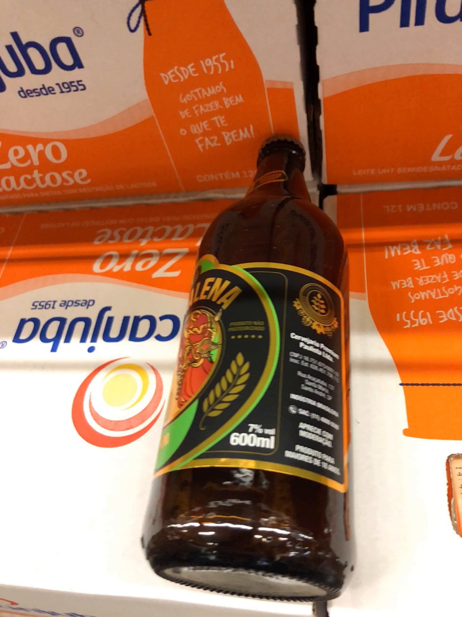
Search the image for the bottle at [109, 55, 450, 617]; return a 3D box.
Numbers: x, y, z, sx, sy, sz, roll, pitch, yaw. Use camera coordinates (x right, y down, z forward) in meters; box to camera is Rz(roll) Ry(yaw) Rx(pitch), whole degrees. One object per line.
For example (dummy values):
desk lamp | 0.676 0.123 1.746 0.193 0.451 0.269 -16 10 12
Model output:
bottle | 0.030 -0.014 0.254 0.100 0.060 0.281 -2 54 12
